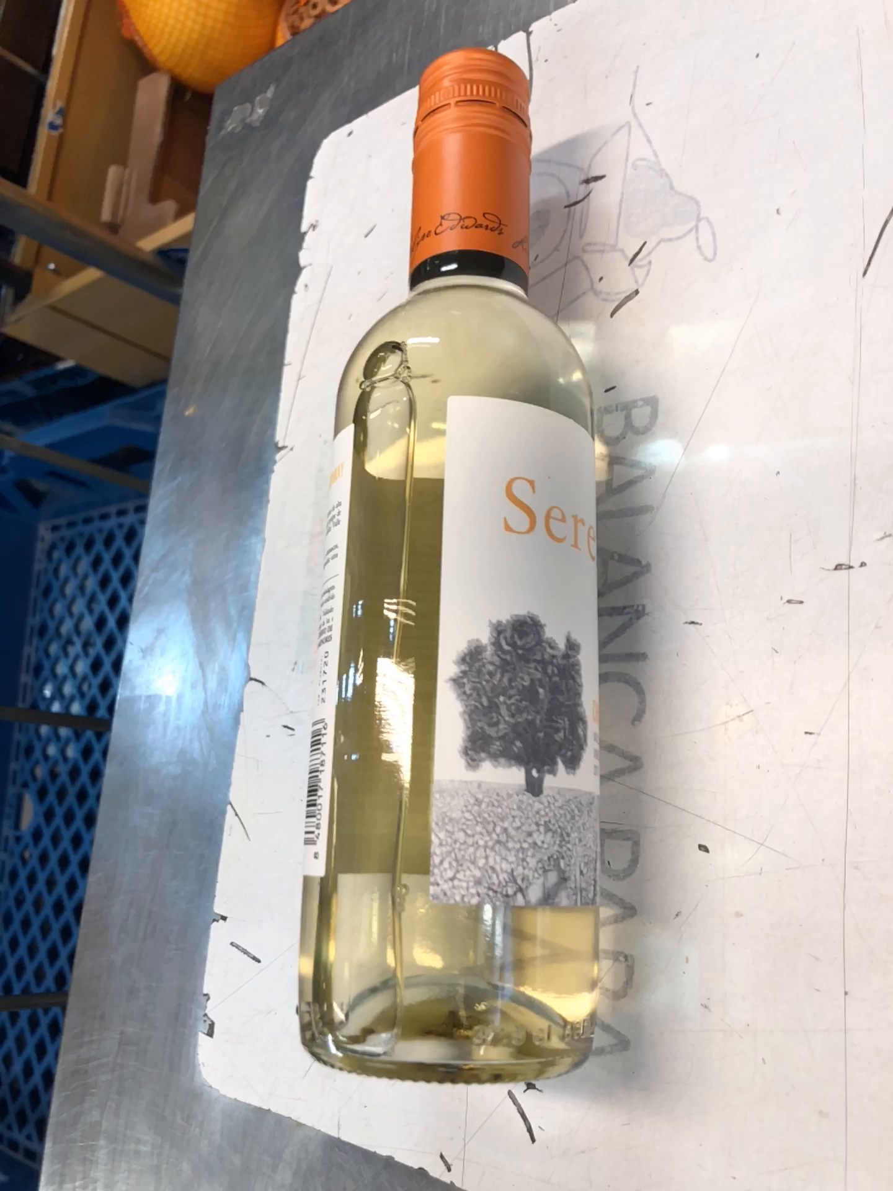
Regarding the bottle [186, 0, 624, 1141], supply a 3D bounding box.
[{"bbox_3d":[0.002,-0.033,0.237,0.070,0.070,0.270,-2,76,18],"label":"bottle"}]
